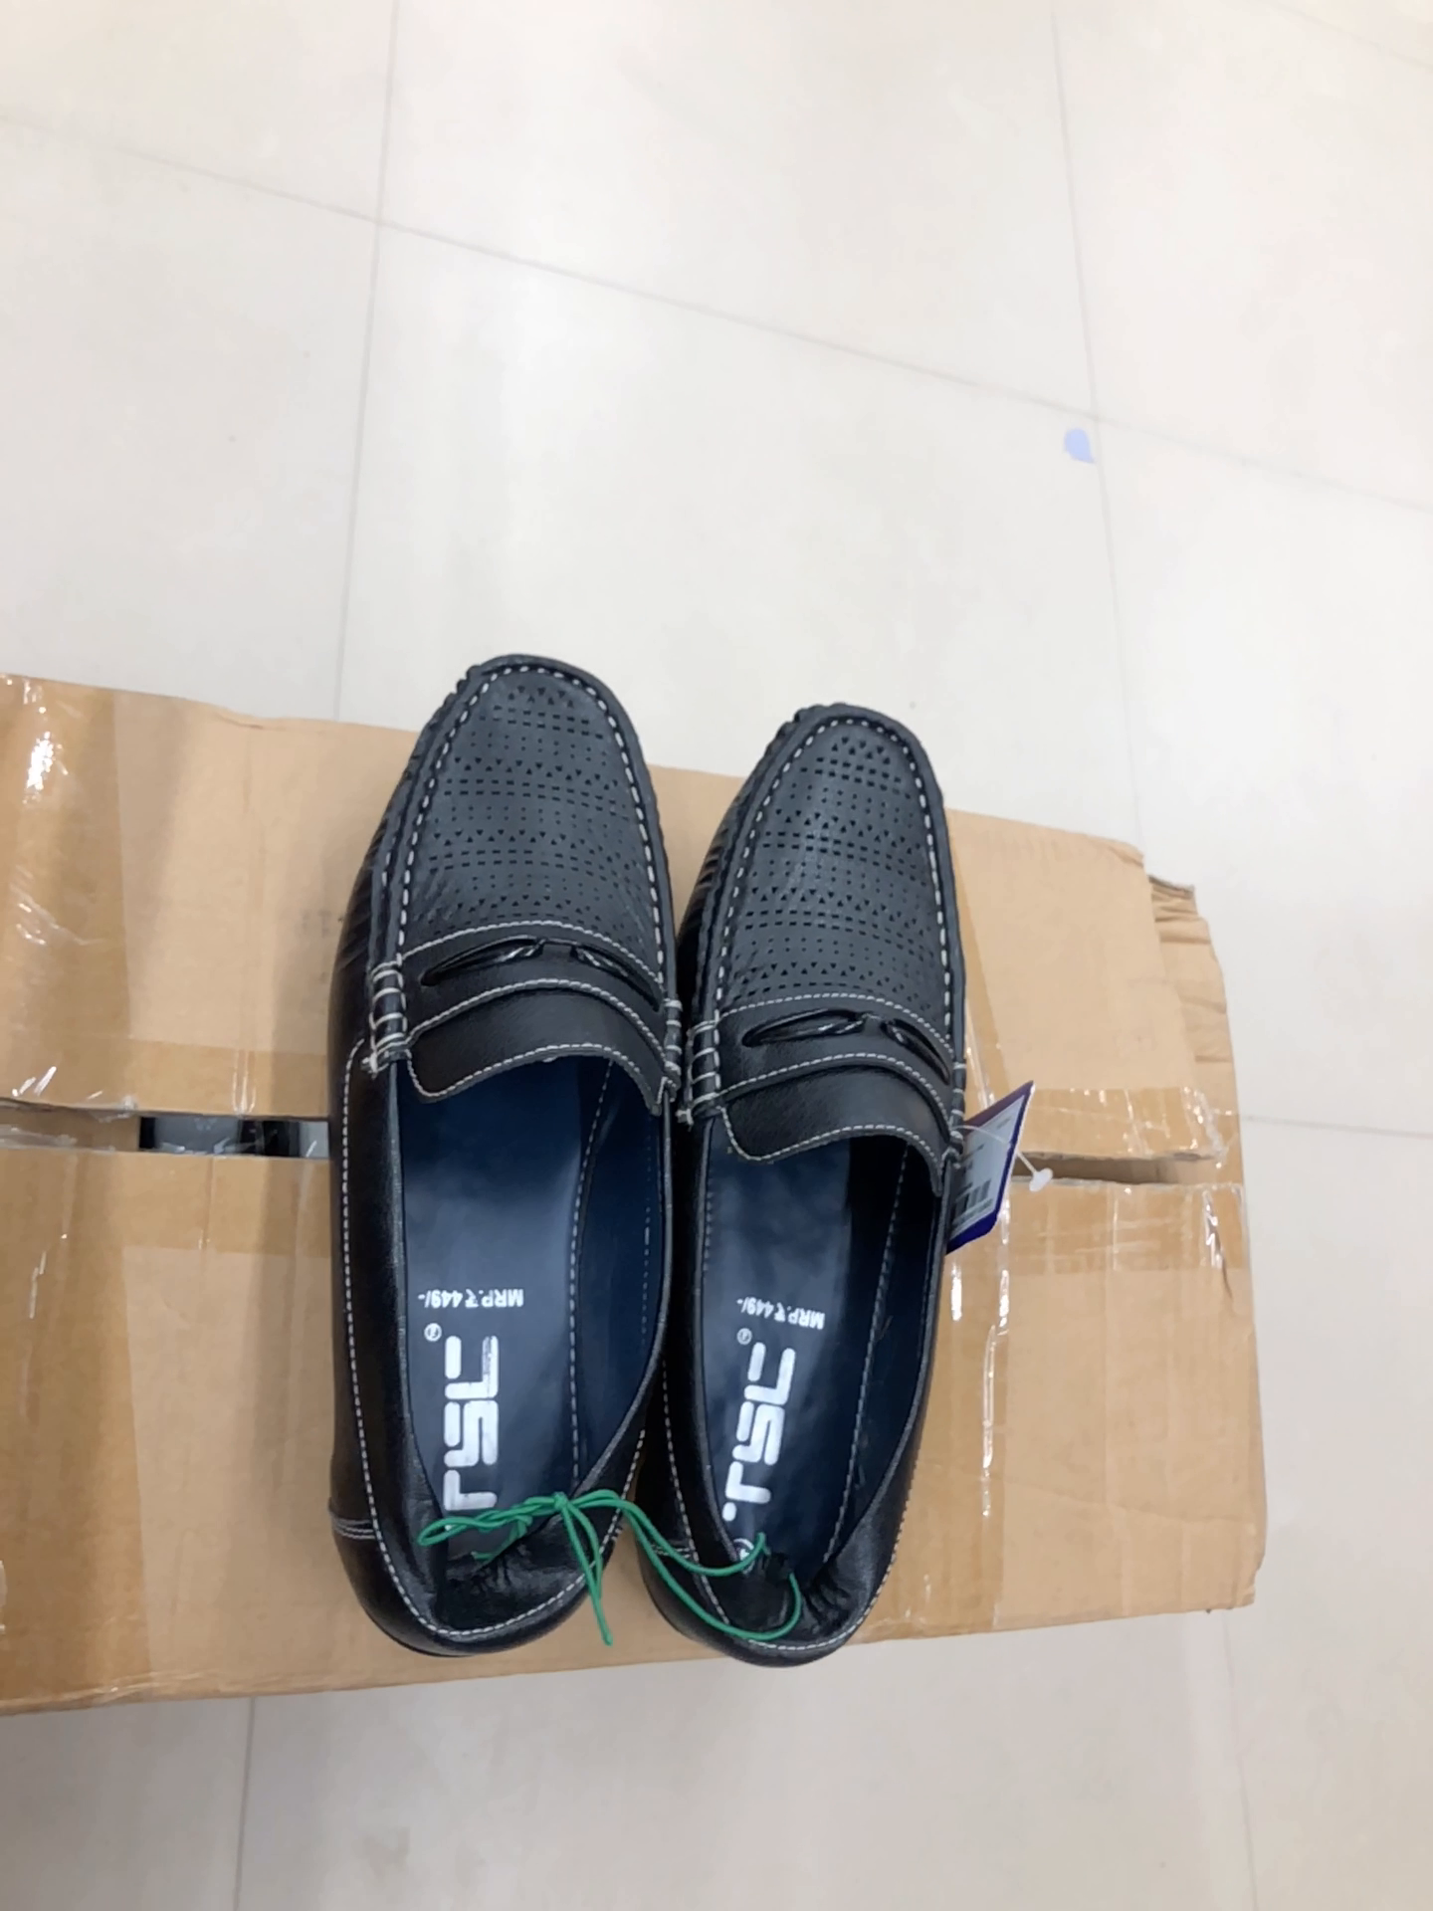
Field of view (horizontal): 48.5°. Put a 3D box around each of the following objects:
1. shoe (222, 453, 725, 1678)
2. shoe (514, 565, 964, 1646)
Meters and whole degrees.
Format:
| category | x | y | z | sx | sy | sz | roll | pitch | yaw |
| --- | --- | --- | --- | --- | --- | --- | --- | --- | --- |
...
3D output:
| category | x | y | z | sx | sy | sz | roll | pitch | yaw |
| --- | --- | --- | --- | --- | --- | --- | --- | --- | --- |
| shoe | -0.063 | 0.027 | 0.444 | 0.100 | 0.090 | 0.311 | 9 | 69 | -20 |
| shoe | 0.006 | 0.044 | 0.500 | 0.100 | 0.090 | 0.311 | 9 | 69 | -20 |
